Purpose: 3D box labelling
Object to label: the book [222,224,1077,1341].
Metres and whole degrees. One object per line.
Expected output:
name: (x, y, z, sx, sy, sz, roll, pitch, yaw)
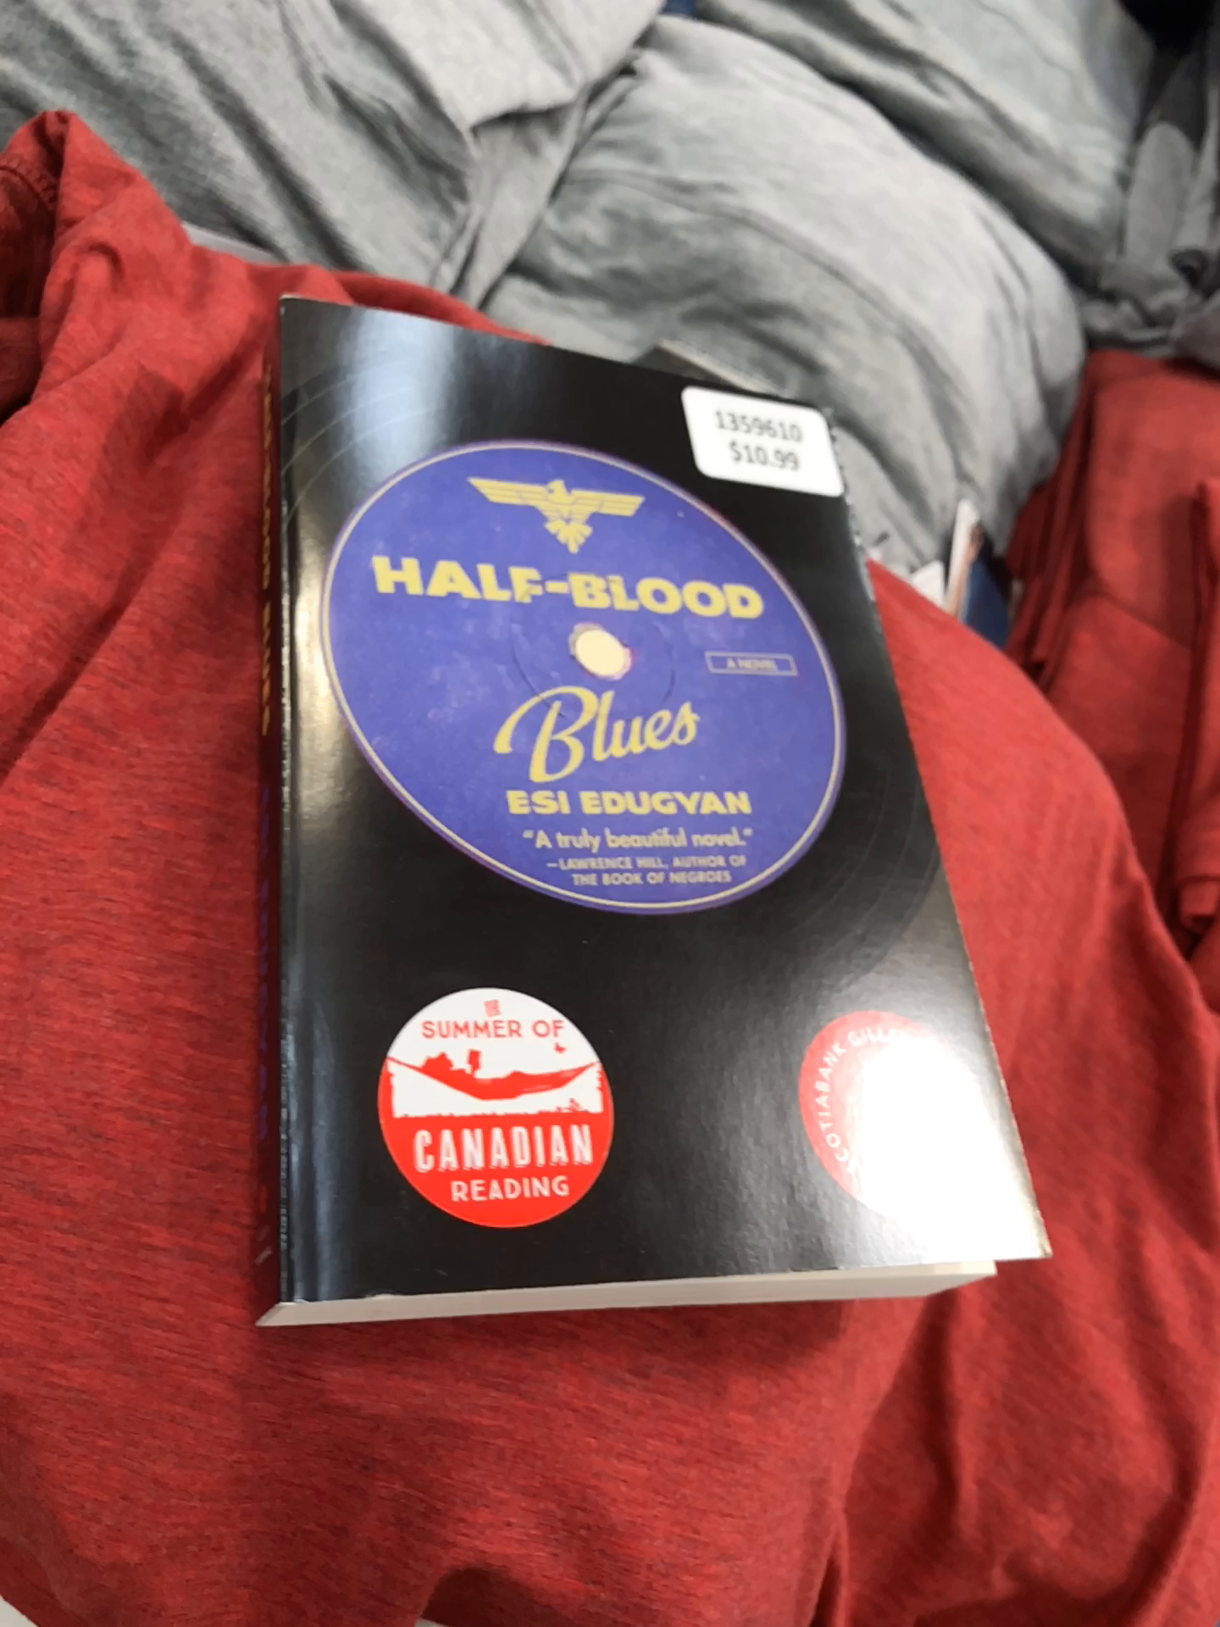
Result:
book: (0.001, -0.014, 0.279, 0.146, 0.025, 0.220, 8, 57, -25)
